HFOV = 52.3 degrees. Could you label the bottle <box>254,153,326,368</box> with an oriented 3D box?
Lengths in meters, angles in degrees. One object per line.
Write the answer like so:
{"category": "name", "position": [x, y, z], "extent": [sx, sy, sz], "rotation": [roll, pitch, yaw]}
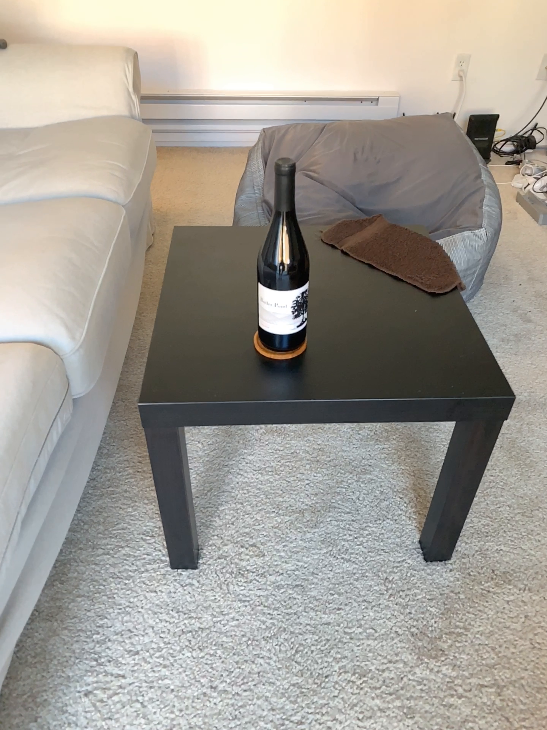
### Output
{"category": "bottle", "position": [0.016, -0.132, 0.754], "extent": [0.080, 0.268, 0.101], "rotation": [1, 40, -1]}
